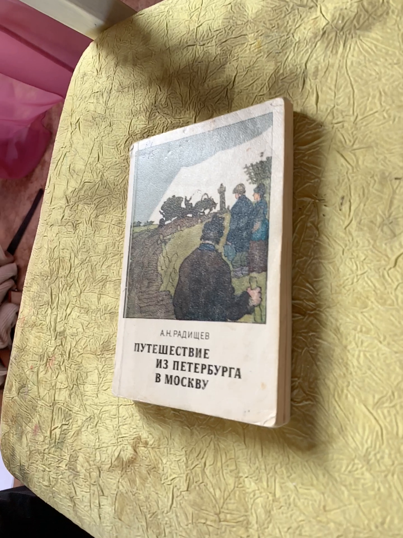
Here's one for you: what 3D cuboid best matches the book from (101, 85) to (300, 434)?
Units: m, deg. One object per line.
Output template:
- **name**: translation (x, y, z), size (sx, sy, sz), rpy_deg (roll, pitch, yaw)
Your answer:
- **book**: translation (-0.004, -0.006, 0.231), size (0.111, 0.020, 0.162), rpy_deg (-3, 80, 36)
